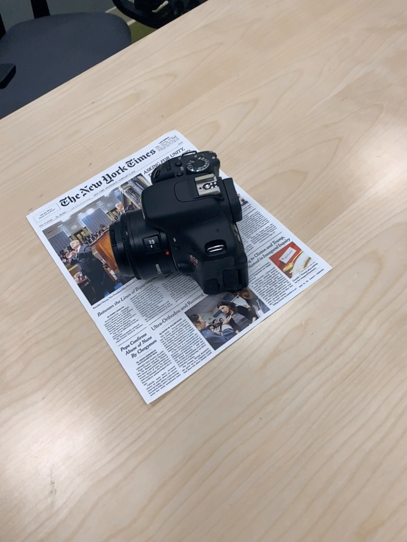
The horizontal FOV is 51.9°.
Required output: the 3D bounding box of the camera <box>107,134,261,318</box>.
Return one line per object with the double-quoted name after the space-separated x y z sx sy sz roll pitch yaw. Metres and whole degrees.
-0.018 -0.042 0.410 0.121 0.100 0.125 -11 58 1 "camera"
